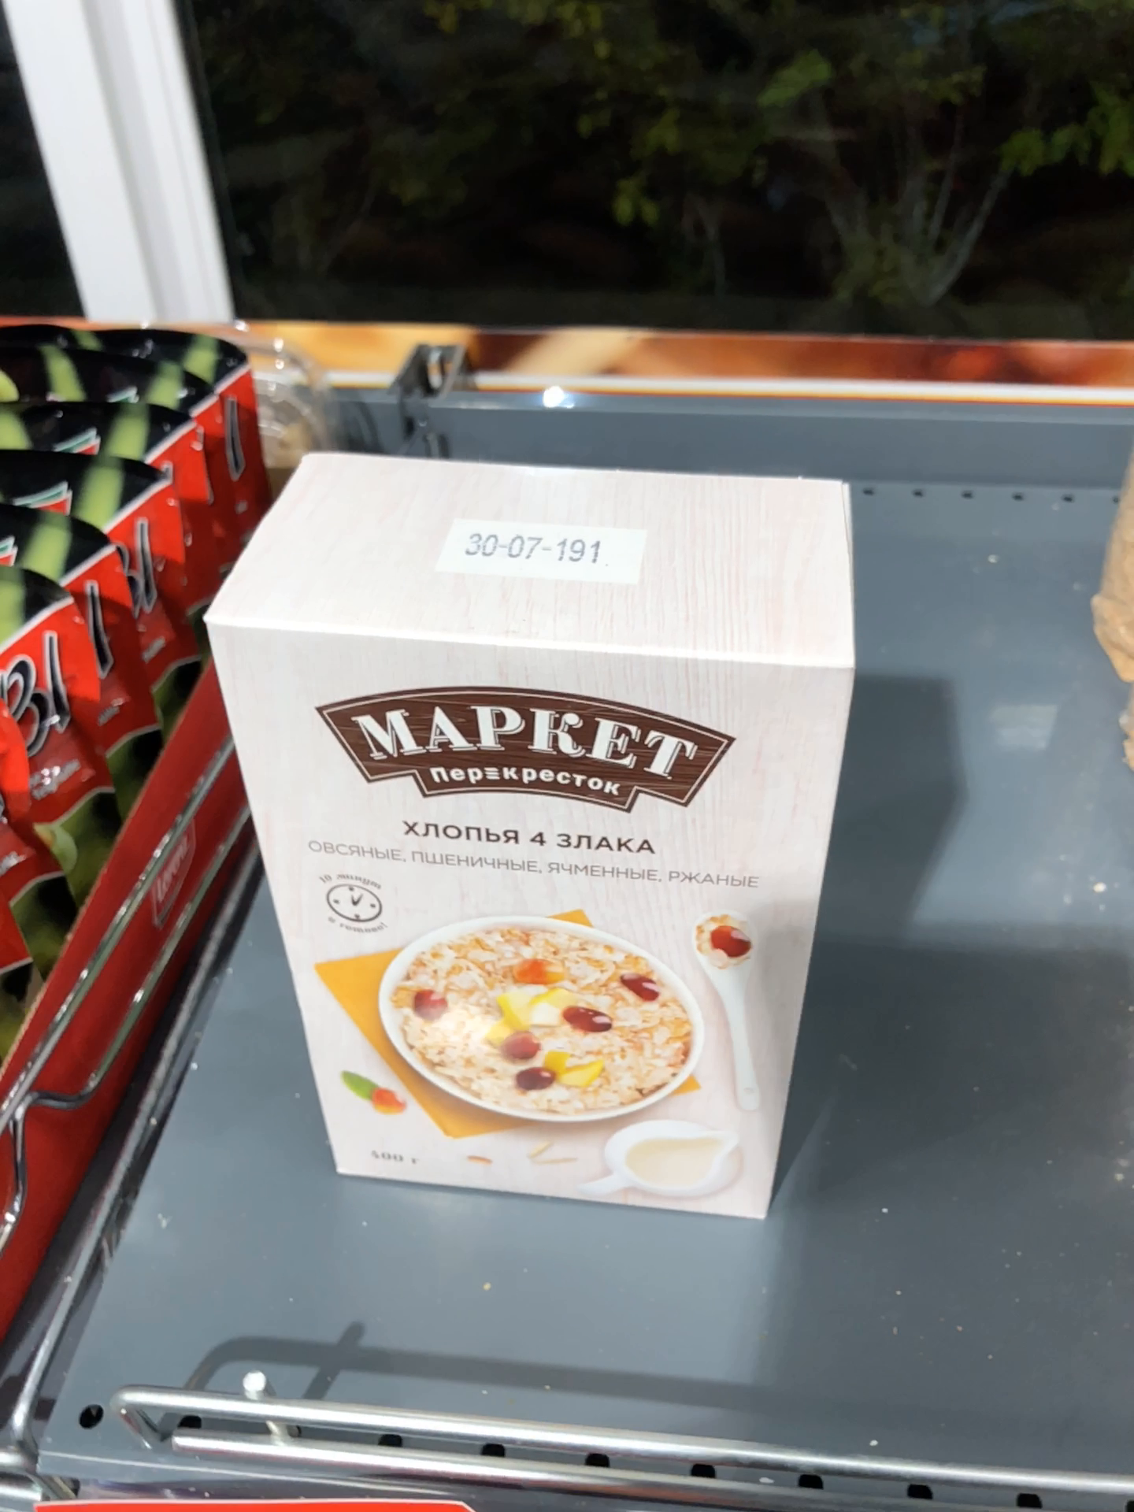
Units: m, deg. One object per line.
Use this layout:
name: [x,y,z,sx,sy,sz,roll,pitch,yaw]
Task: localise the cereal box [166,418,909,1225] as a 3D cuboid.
cereal box: [-0.001,0.025,0.306,0.130,0.189,0.070,4,40,6]
